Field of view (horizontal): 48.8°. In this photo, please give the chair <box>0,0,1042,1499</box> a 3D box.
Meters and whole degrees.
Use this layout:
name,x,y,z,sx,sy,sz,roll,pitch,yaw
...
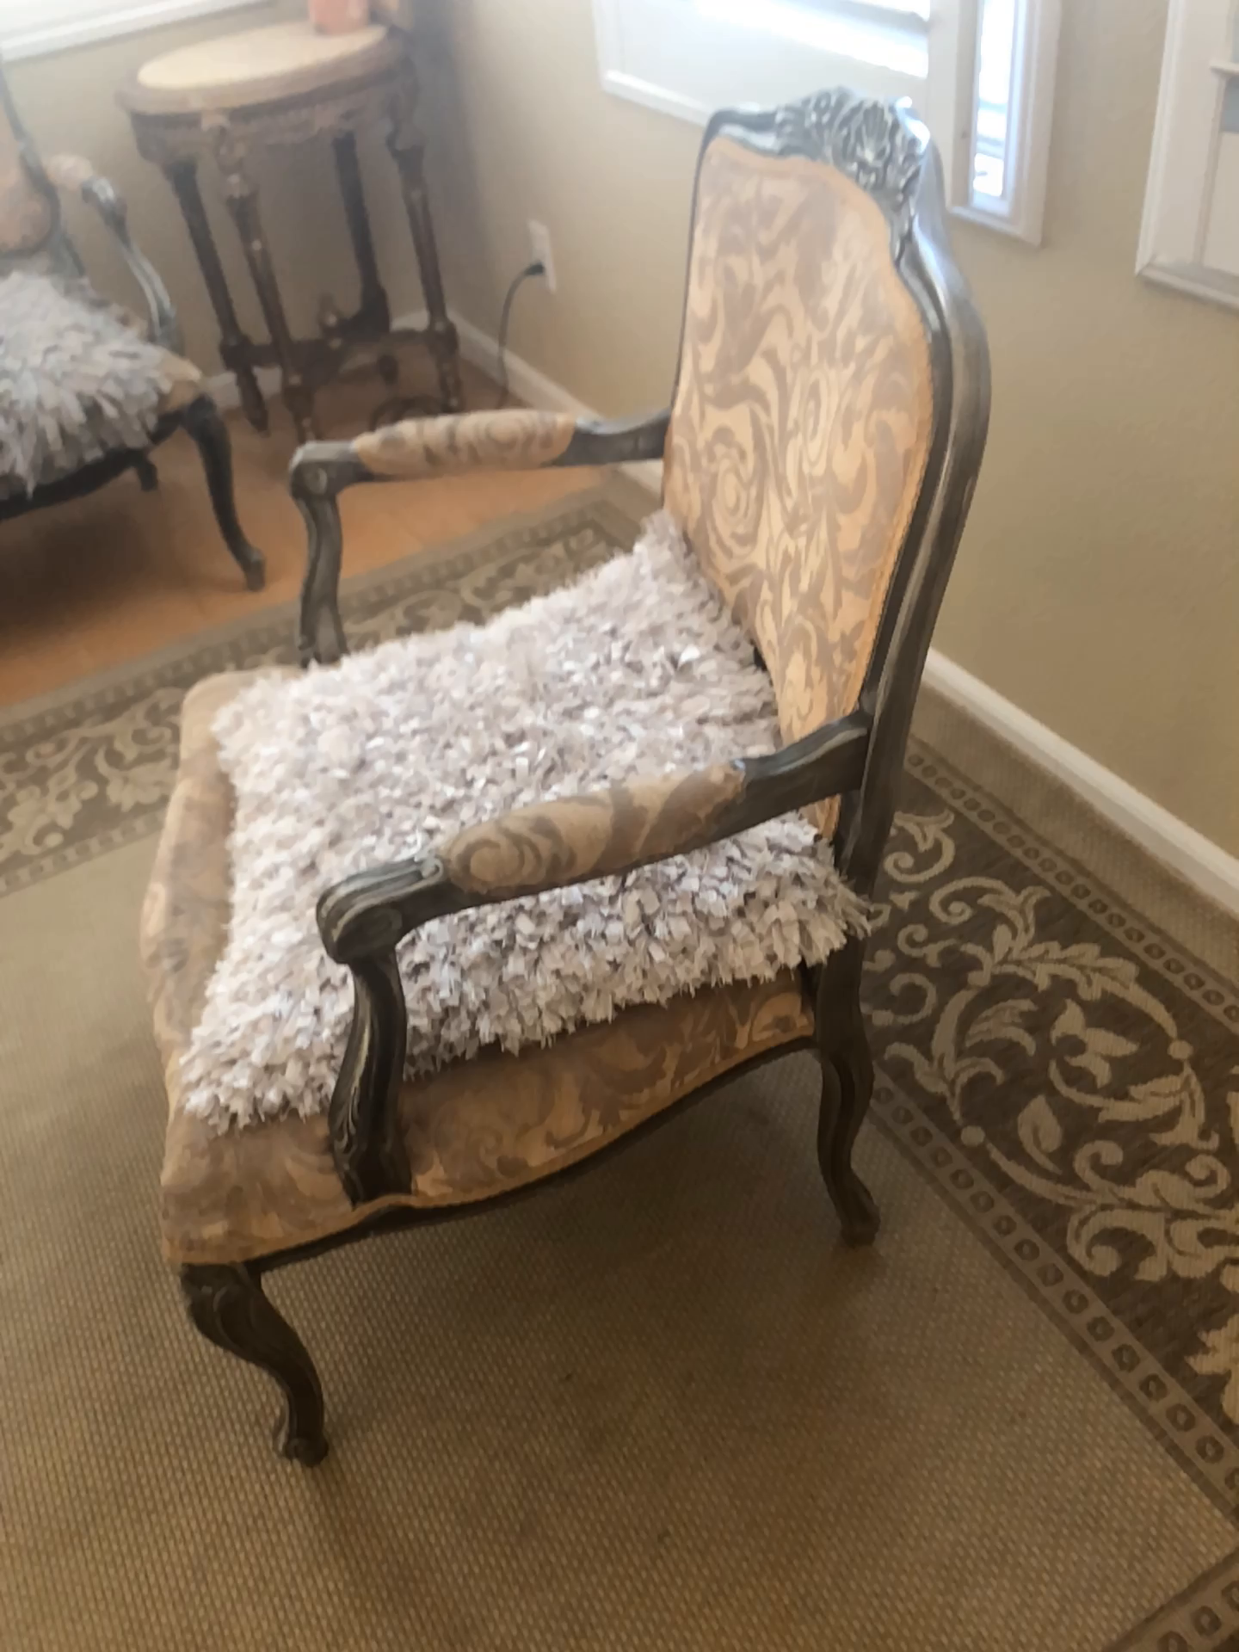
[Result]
name,x,y,z,sx,sy,sz,roll,pitch,yaw
chair,-0.149,-0.094,1.182,0.650,0.972,0.766,-13,41,-5
